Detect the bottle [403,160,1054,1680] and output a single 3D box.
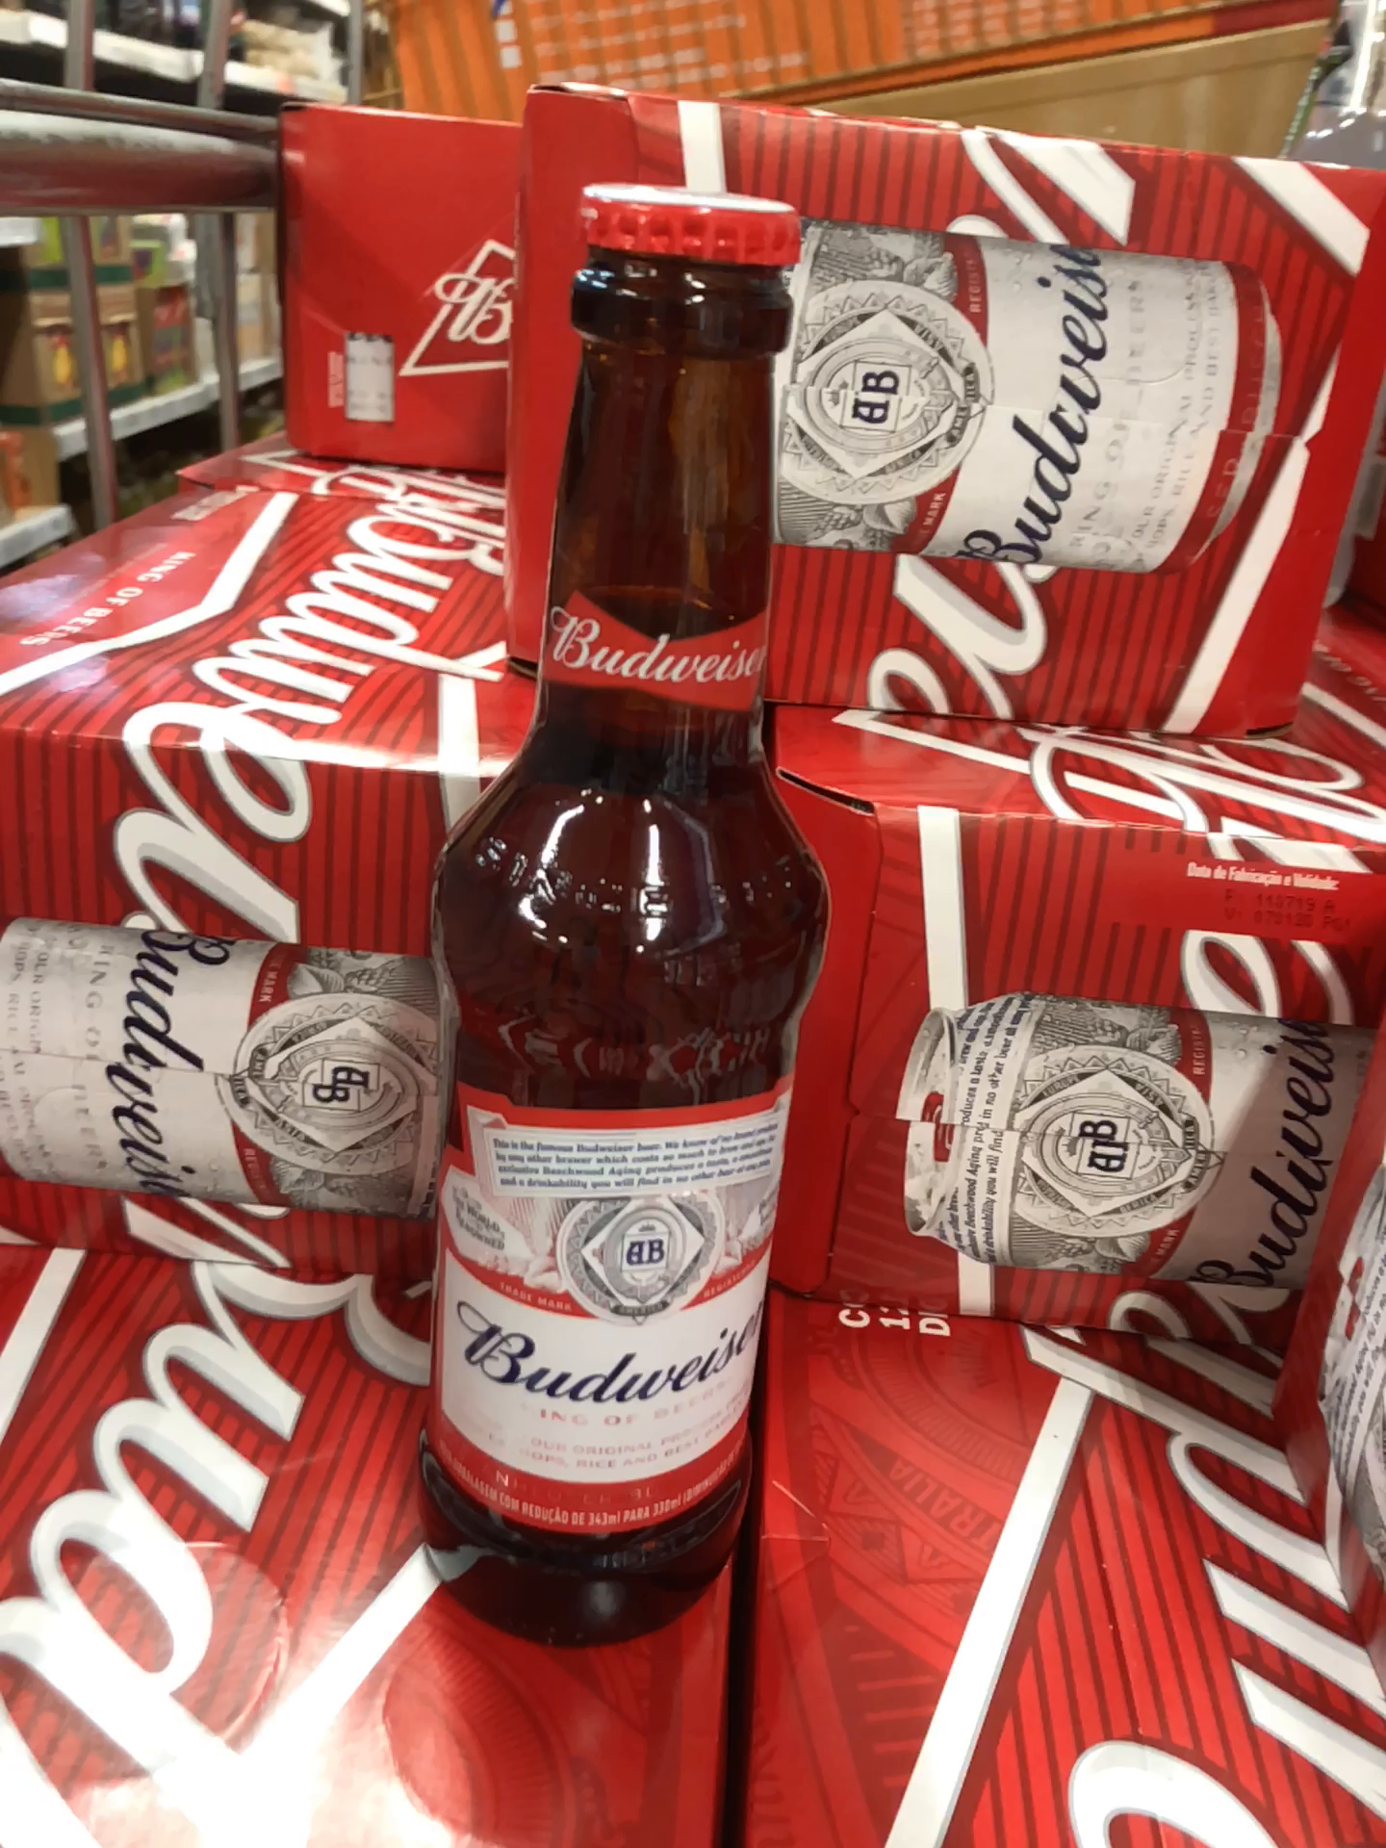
[{"bbox_3d":[-0.008,0.011,0.240,0.070,0.228,0.060,1,26,-8],"label":"bottle"}]
